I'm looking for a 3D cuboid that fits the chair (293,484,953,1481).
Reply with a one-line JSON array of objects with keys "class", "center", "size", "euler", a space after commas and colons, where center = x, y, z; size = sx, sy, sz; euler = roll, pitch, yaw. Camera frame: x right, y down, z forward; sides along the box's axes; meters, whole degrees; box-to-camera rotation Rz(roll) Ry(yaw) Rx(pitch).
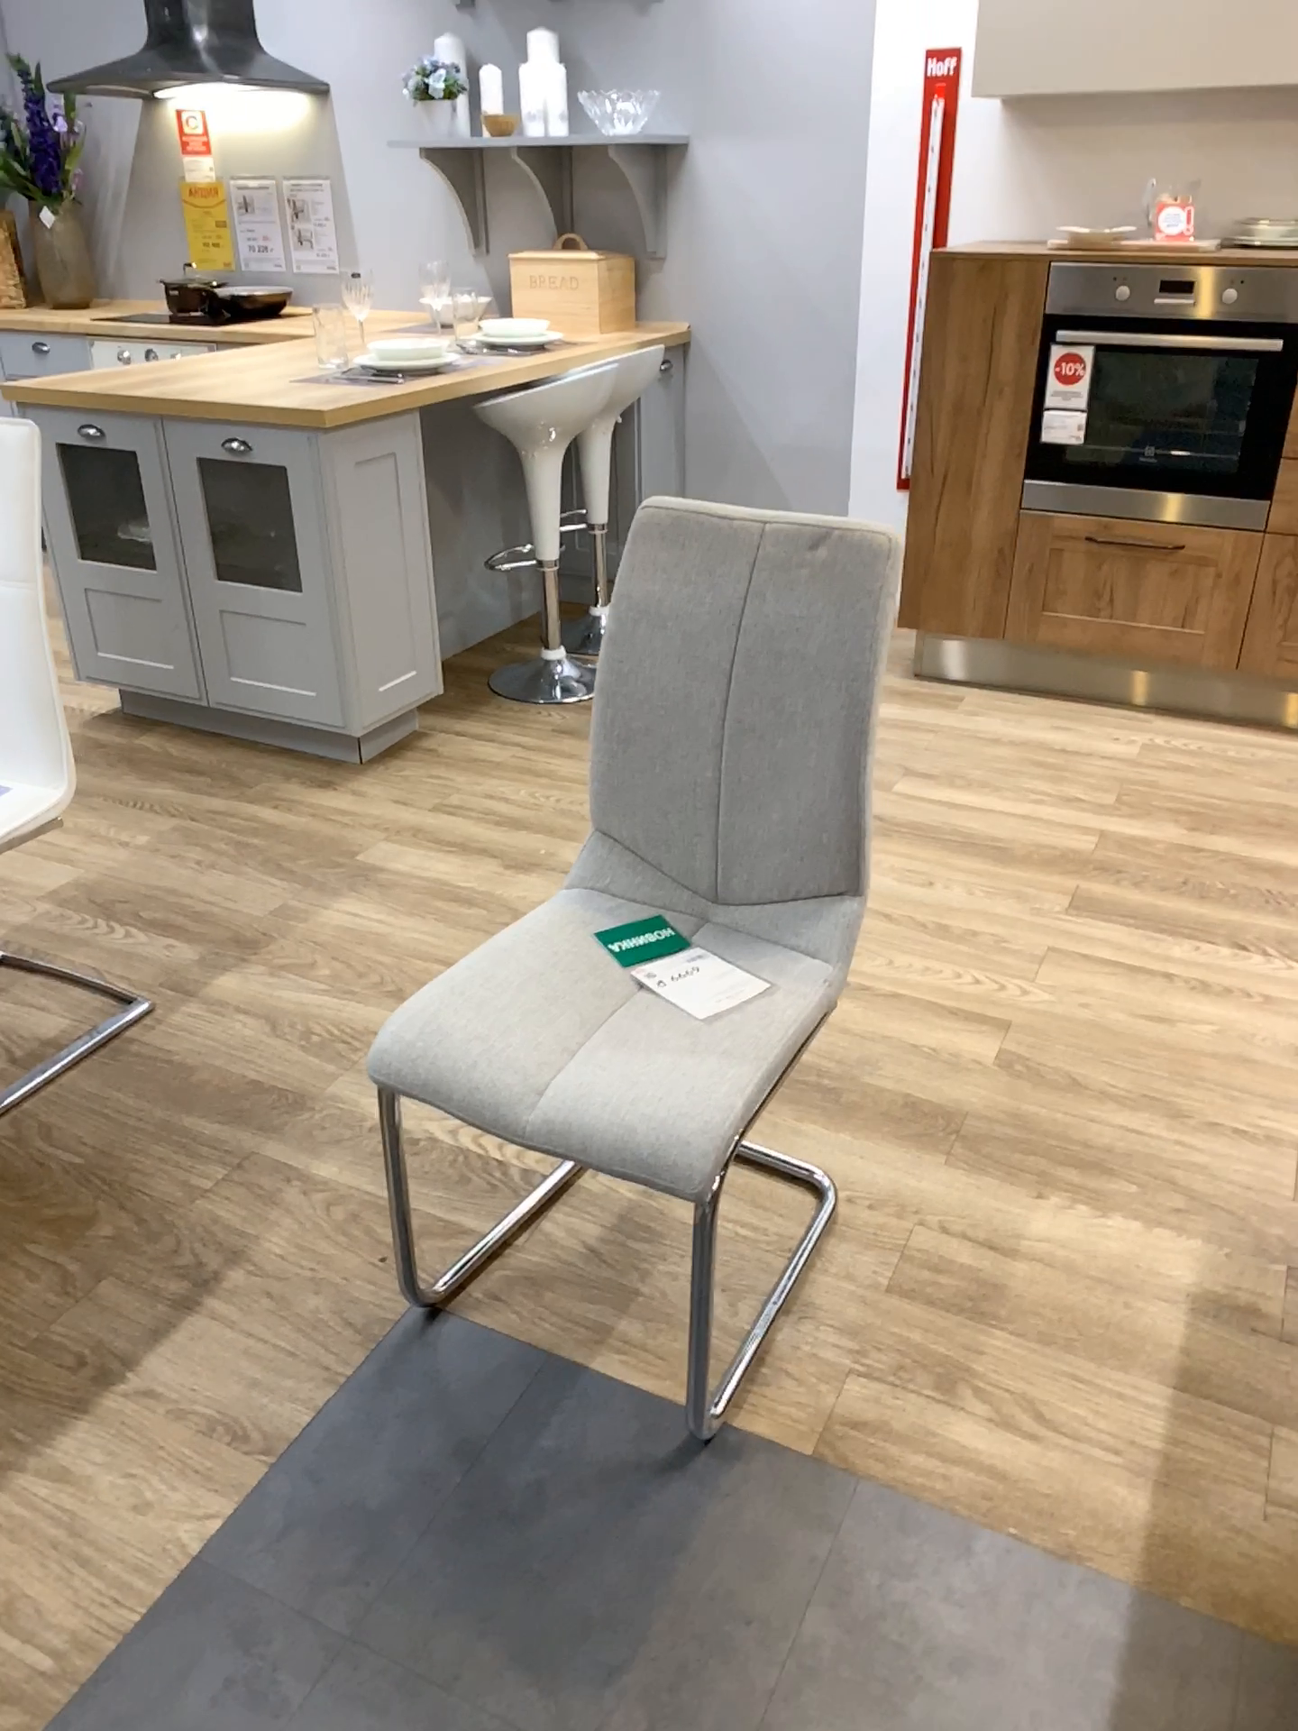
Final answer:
[{"class": "chair", "center": [0.003, 0.105, 1.645], "size": [0.490, 0.984, 0.573], "euler": [14, 30, 26]}]
